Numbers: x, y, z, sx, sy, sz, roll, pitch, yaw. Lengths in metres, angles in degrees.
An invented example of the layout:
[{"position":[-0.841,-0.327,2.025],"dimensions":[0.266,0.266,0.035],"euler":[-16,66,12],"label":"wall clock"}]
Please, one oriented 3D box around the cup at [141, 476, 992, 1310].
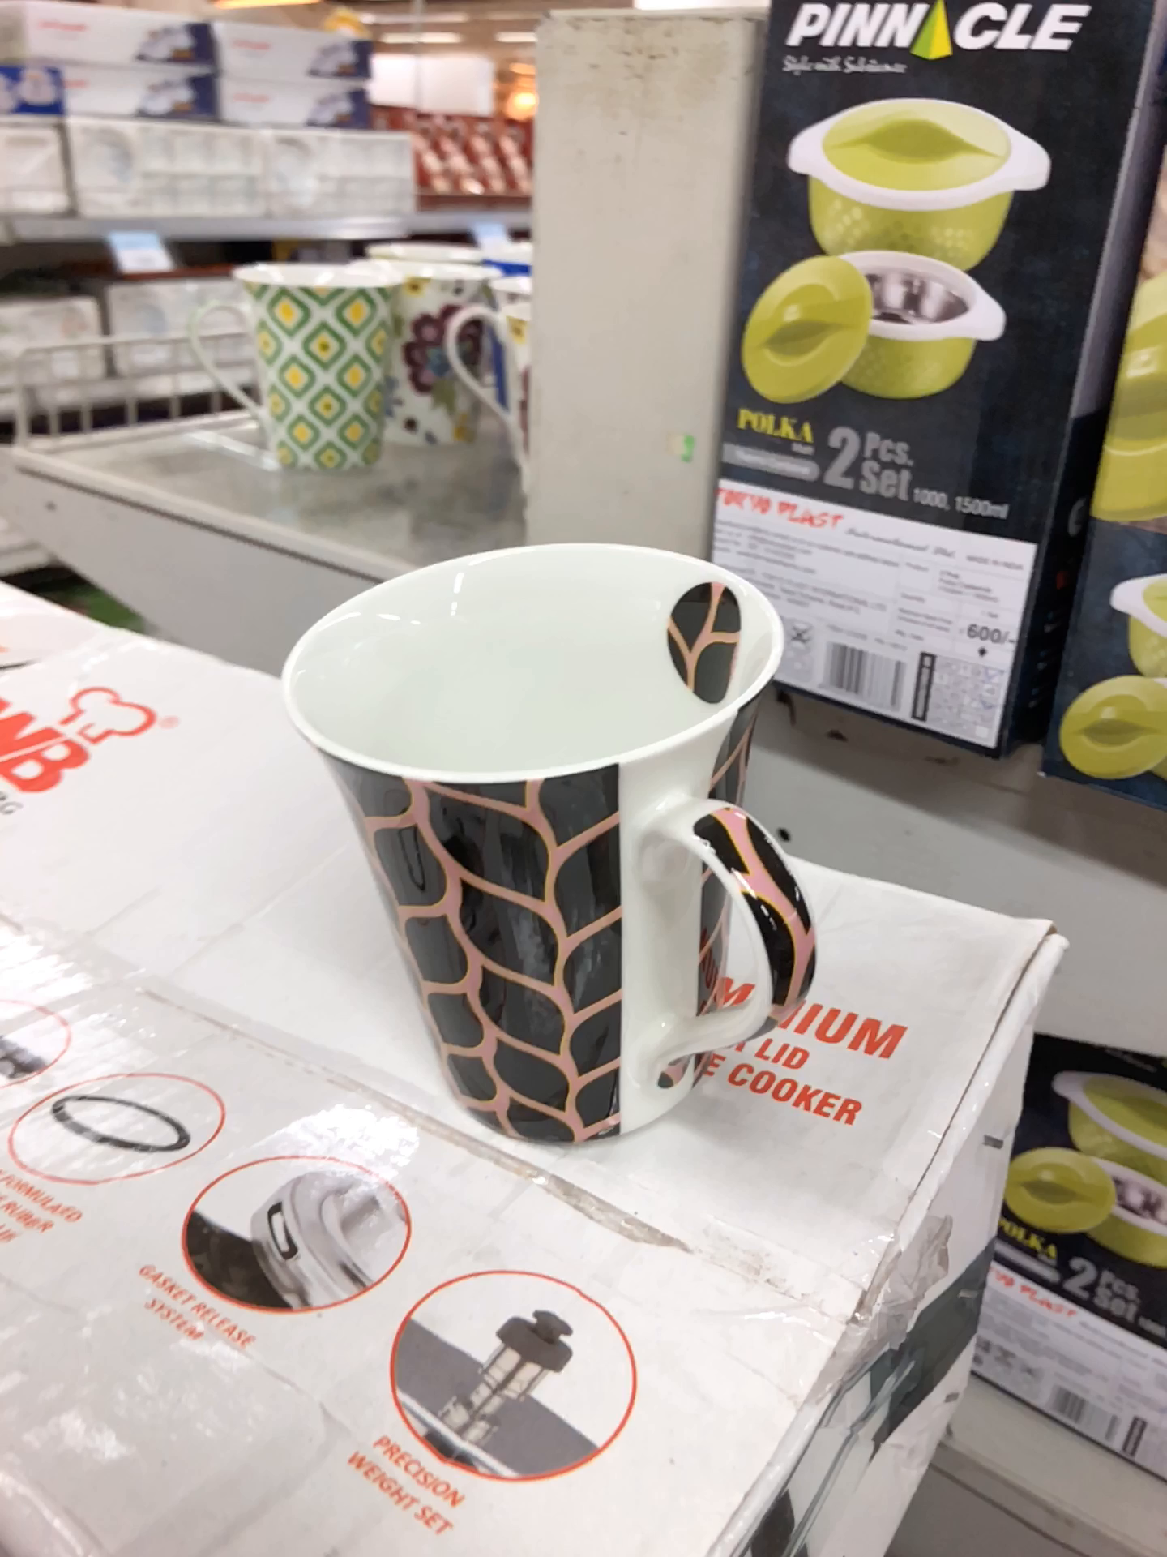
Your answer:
[{"position":[-0.005,0.007,0.232],"dimensions":[0.090,0.079,0.110],"euler":[-24,36,-32],"label":"cup"}]
